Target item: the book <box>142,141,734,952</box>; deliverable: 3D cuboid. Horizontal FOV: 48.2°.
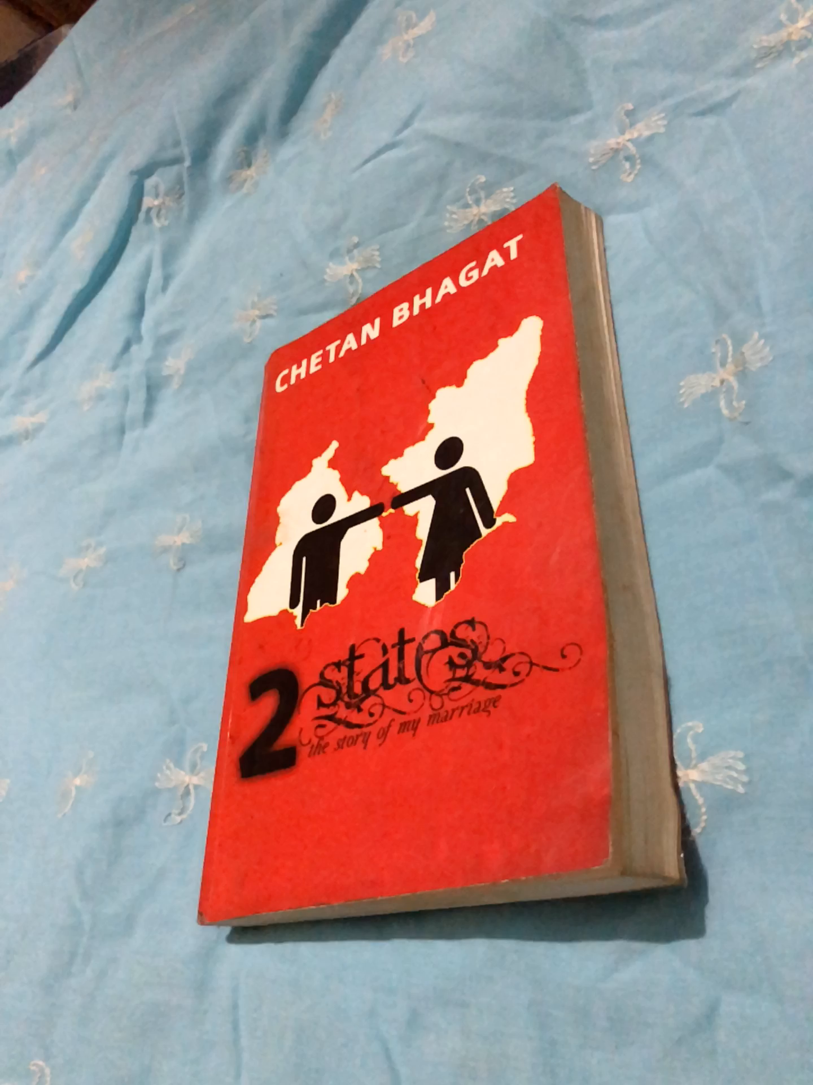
[{"bbox_3d":[-0.001,-0.001,0.254,0.140,0.030,0.200,-21,53,31],"label":"book"}]
